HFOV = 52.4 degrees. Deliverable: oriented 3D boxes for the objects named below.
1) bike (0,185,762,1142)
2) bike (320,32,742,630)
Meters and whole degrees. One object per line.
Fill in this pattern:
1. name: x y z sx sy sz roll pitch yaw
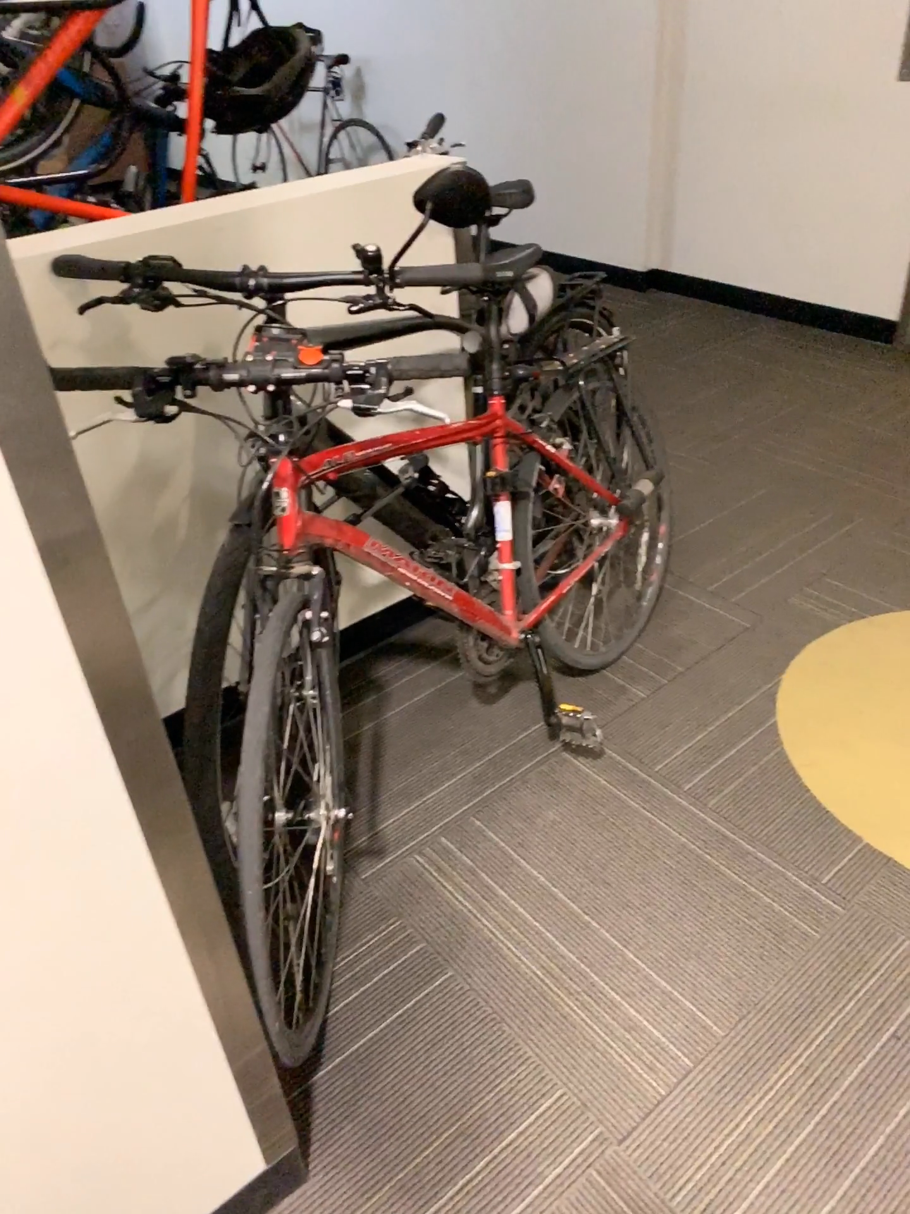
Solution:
1. bike: 0.041 -0.164 1.664 0.604 0.927 1.617 13 34 24
2. bike: 0.234 -0.603 2.262 0.693 1.149 0.728 15 33 26
